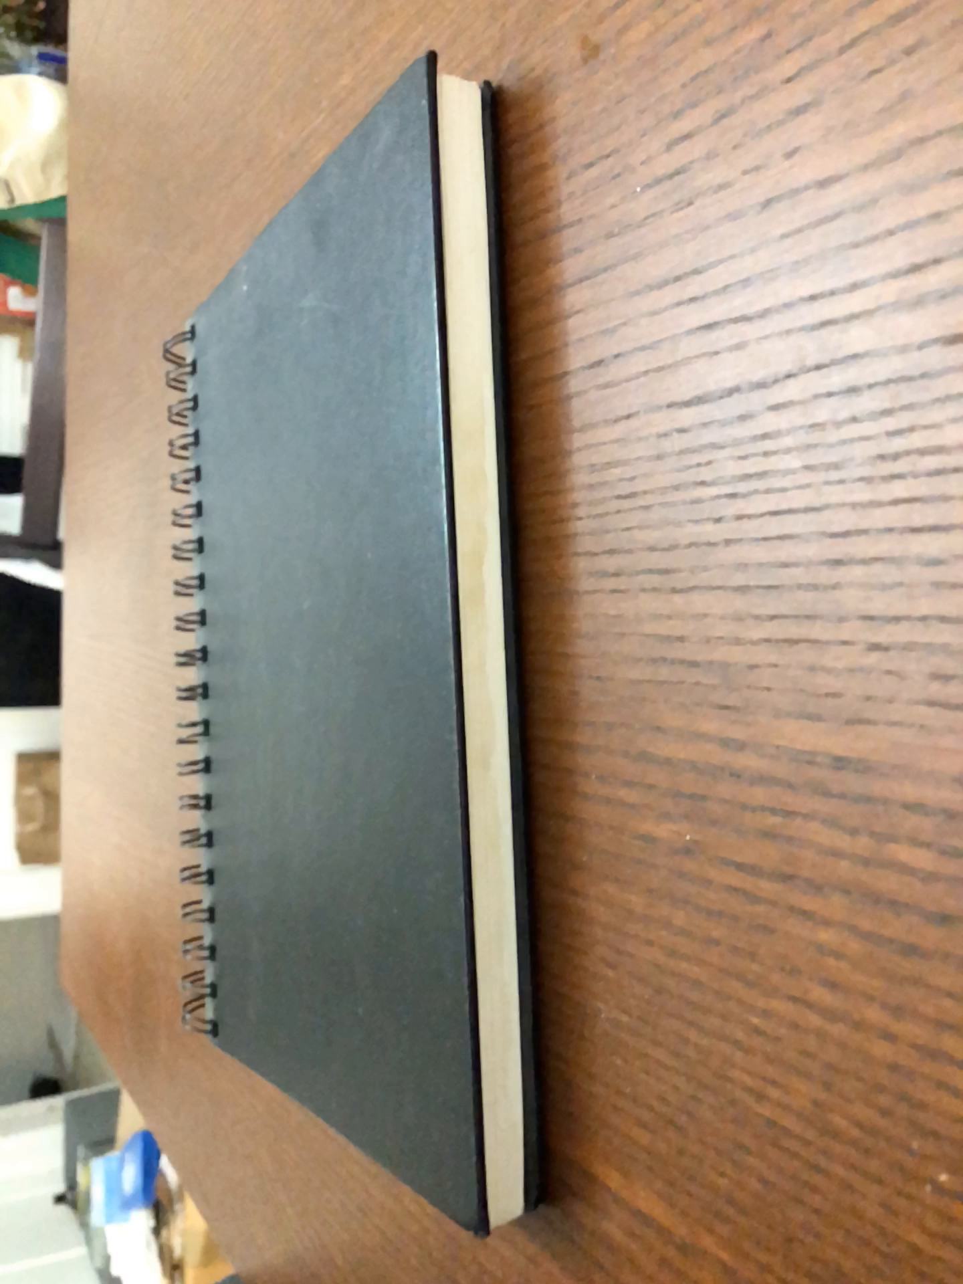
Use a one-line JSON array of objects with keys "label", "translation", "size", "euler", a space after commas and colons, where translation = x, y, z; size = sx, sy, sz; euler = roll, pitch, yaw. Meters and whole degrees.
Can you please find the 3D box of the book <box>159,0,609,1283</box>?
[{"label": "book", "translation": [-0.046, 0.003, 0.299], "size": [0.201, 0.030, 0.260], "euler": [-11, 81, 59]}]
